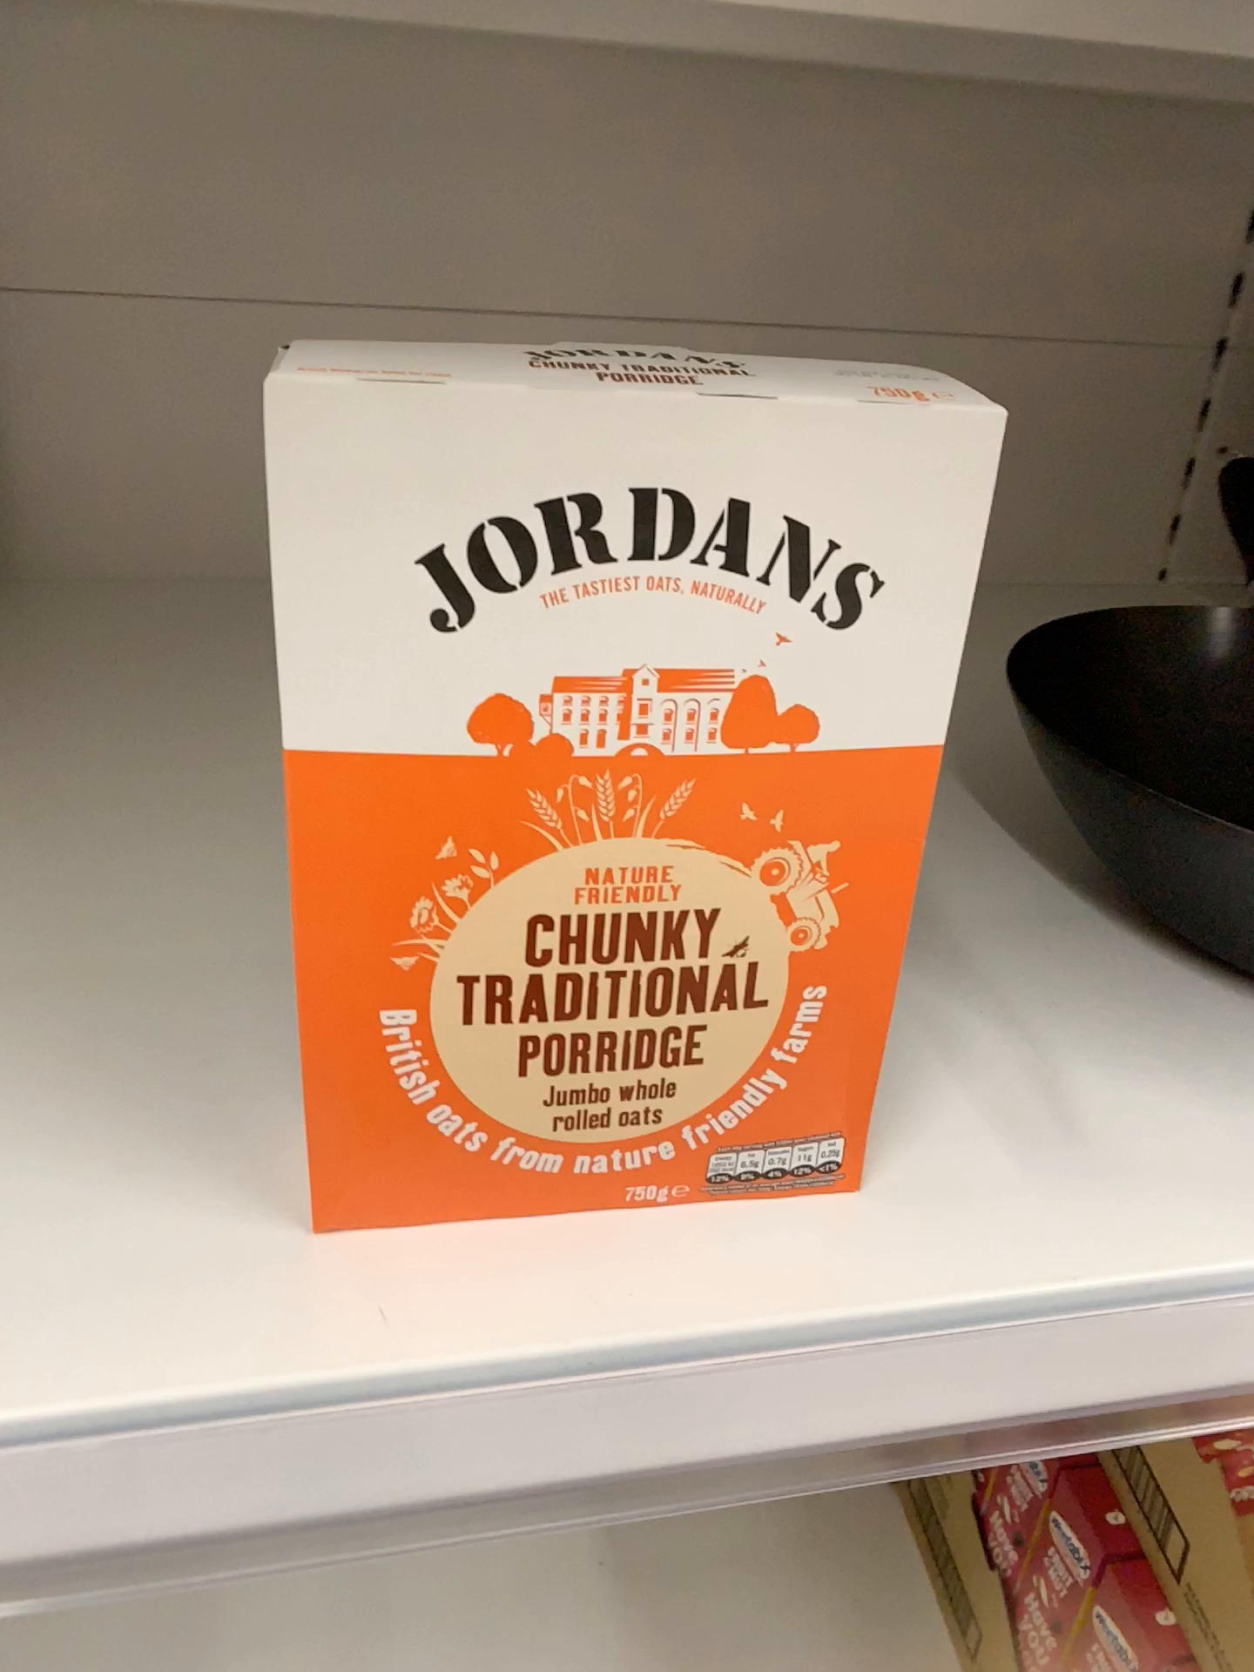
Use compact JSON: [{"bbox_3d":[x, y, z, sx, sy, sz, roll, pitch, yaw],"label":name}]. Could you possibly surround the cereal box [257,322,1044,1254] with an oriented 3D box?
[{"bbox_3d":[-0.004,-0.004,0.391,0.190,0.268,0.061,-1,27,-11],"label":"cereal box"}]
